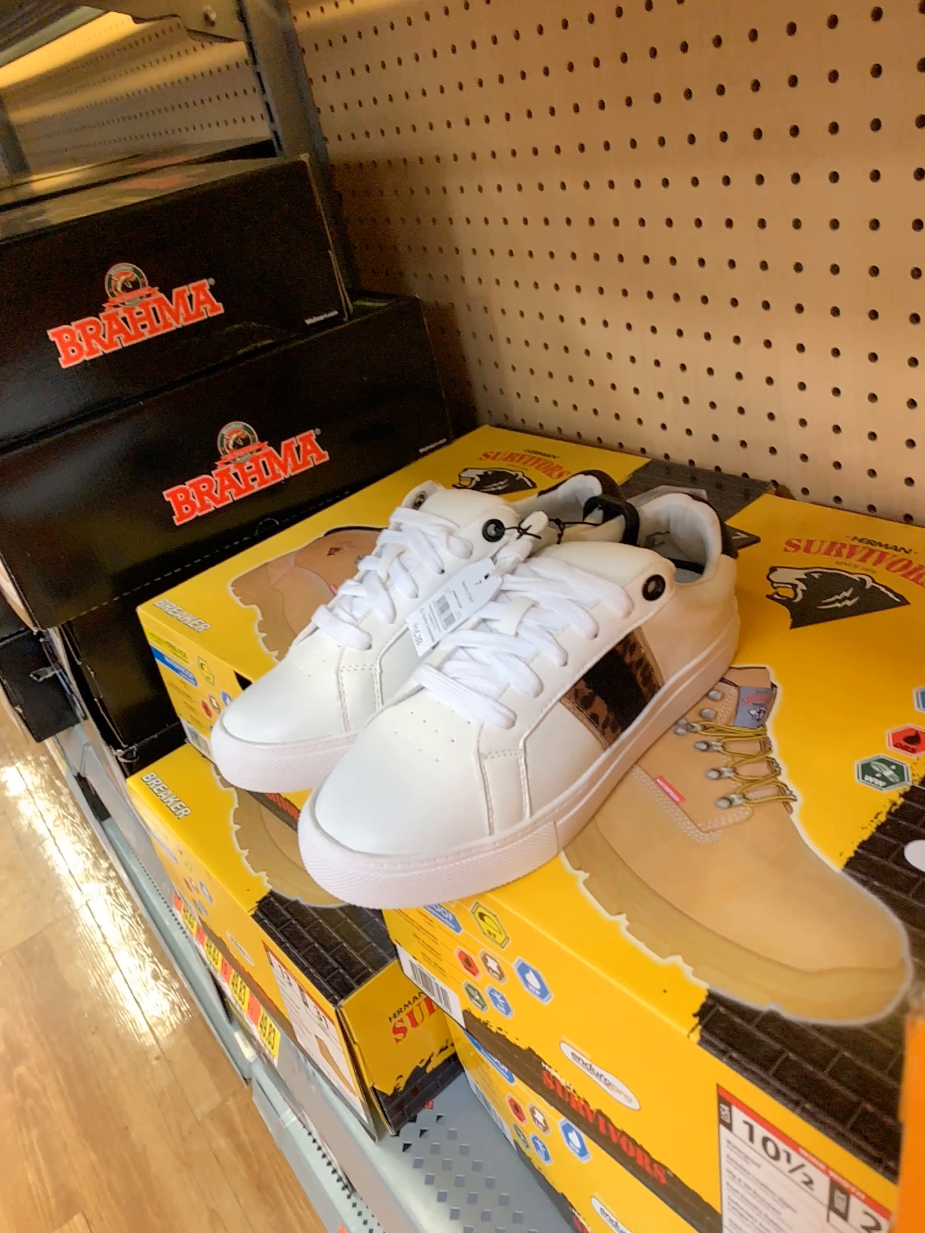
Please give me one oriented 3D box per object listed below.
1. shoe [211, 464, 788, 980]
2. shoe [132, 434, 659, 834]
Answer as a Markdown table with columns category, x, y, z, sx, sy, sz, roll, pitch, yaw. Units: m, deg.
| category | x | y | z | sx | sy | sz | roll | pitch | yaw |
| --- | --- | --- | --- | --- | --- | --- | --- | --- | --- |
| shoe | 0.029 | 0.026 | 0.415 | 0.241 | 0.070 | 0.103 | -34 | 40 | -29 |
| shoe | -0.027 | -0.005 | 0.488 | 0.245 | 0.072 | 0.100 | -29 | 34 | -23 |
